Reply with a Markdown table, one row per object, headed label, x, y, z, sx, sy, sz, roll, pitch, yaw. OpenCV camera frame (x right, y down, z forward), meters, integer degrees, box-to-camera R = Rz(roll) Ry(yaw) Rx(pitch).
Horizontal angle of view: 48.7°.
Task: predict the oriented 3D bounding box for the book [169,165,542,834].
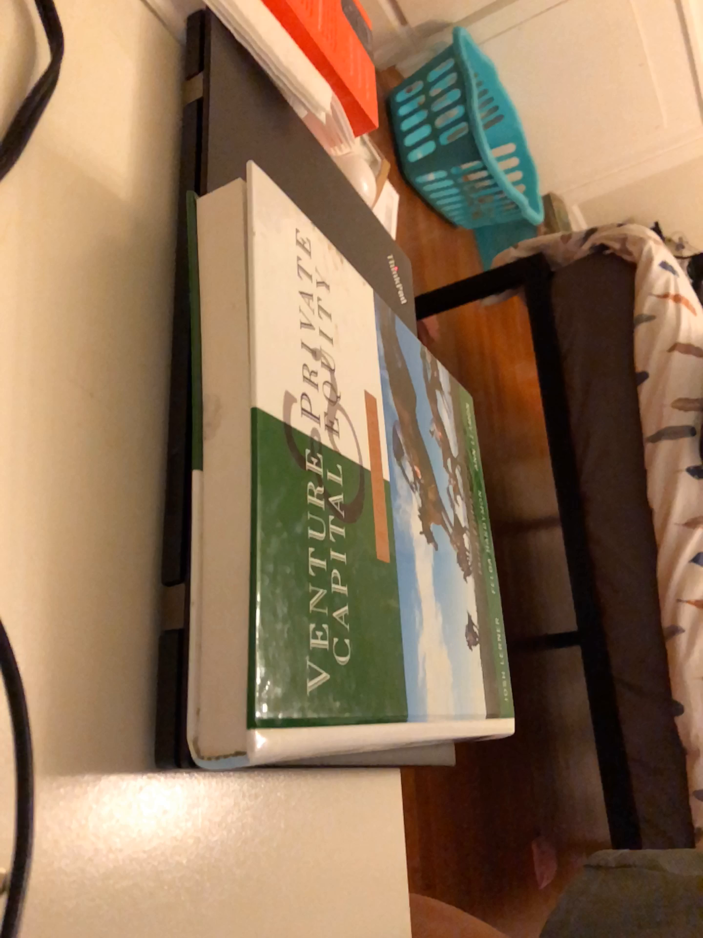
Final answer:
| label | x | y | z | sx | sy | sz | roll | pitch | yaw |
| --- | --- | --- | --- | --- | --- | --- | --- | --- | --- |
| book | 0.019 | 0.032 | 0.363 | 0.271 | 0.030 | 0.220 | 29 | 51 | -56 |
